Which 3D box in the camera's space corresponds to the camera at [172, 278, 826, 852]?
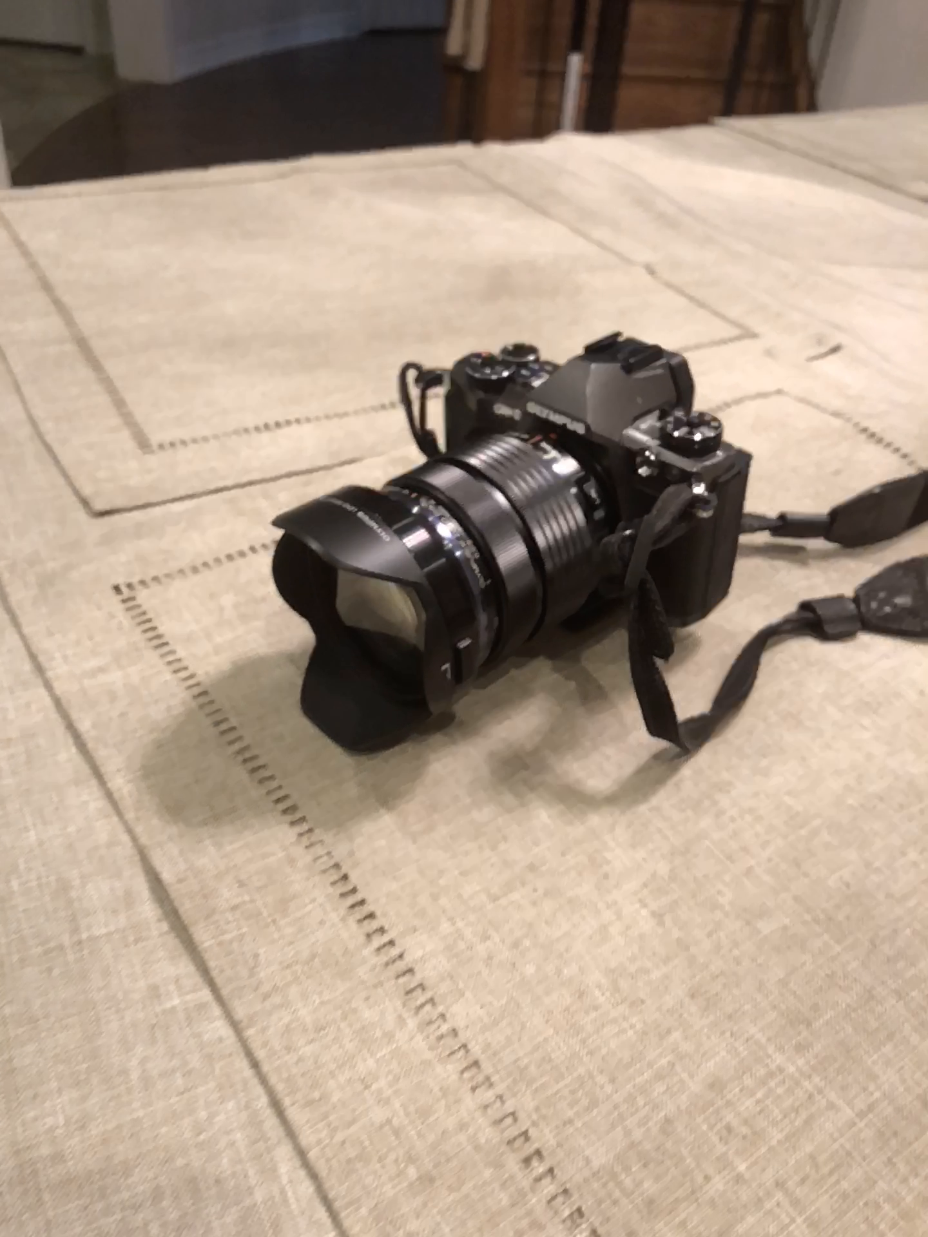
[{"bbox_3d":[0.013,-0.033,0.347,0.125,0.092,0.165,32,44,29],"label":"camera"}]
